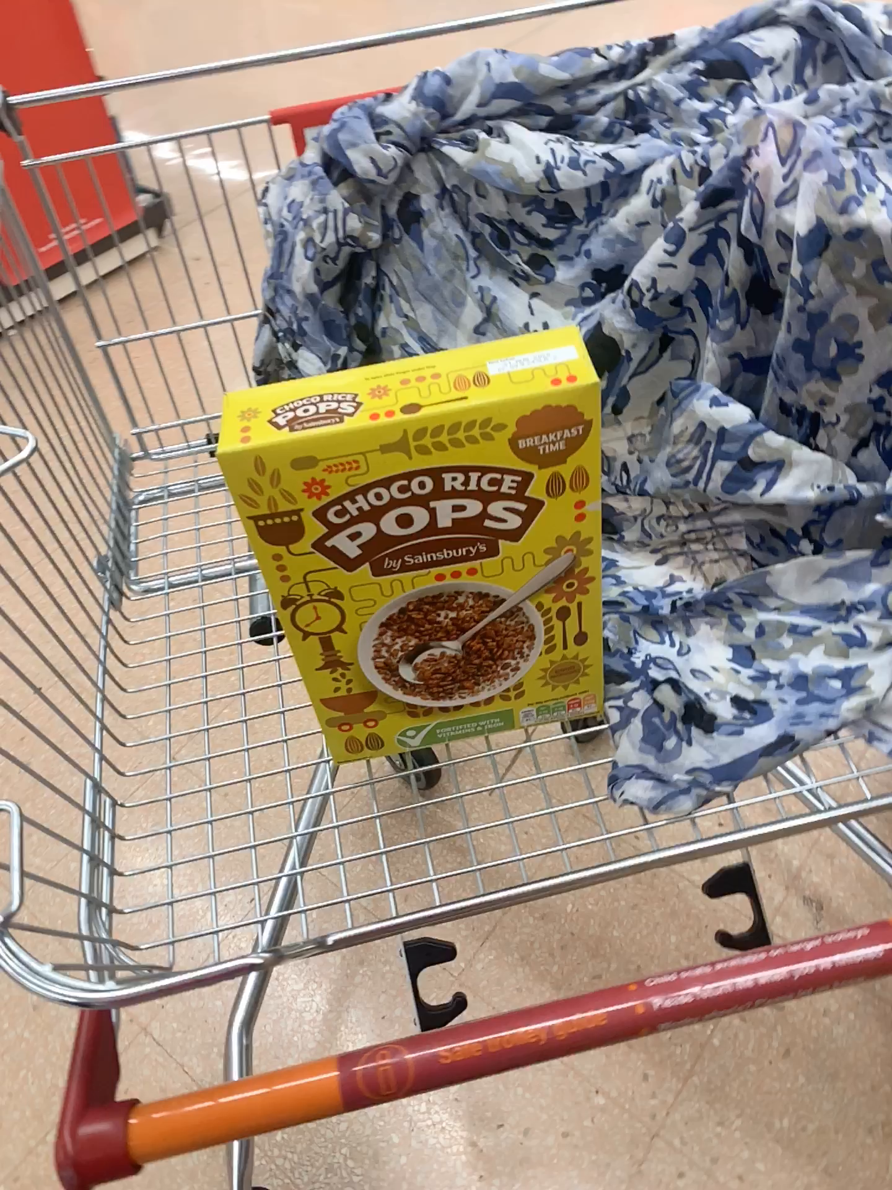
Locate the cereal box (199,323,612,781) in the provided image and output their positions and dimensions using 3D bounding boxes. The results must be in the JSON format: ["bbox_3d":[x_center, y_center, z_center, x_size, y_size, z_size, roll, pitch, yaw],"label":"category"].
[{"bbox_3d":[-0.009,-0.009,0.548,0.200,0.268,0.061,-11,44,-3],"label":"cereal box"}]
